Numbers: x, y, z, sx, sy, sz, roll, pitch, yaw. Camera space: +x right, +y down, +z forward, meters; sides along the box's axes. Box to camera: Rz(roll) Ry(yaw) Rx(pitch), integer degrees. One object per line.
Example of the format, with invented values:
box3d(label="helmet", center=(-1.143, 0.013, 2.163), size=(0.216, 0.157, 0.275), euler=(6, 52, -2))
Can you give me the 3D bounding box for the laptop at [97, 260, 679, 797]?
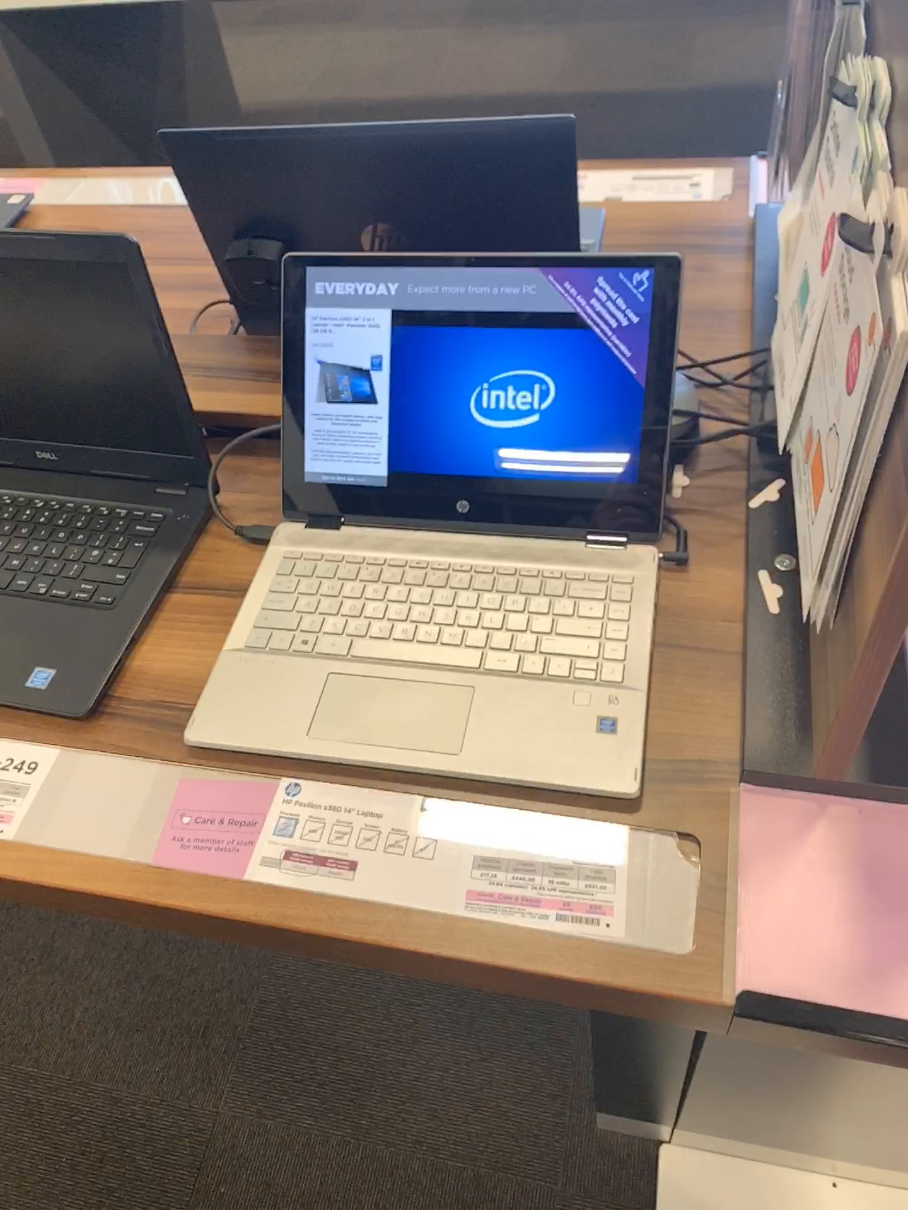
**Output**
box3d(label="laptop", center=(-0.011, -0.080, 0.674), size=(0.313, 0.154, 0.363), euler=(4, 51, 13))
